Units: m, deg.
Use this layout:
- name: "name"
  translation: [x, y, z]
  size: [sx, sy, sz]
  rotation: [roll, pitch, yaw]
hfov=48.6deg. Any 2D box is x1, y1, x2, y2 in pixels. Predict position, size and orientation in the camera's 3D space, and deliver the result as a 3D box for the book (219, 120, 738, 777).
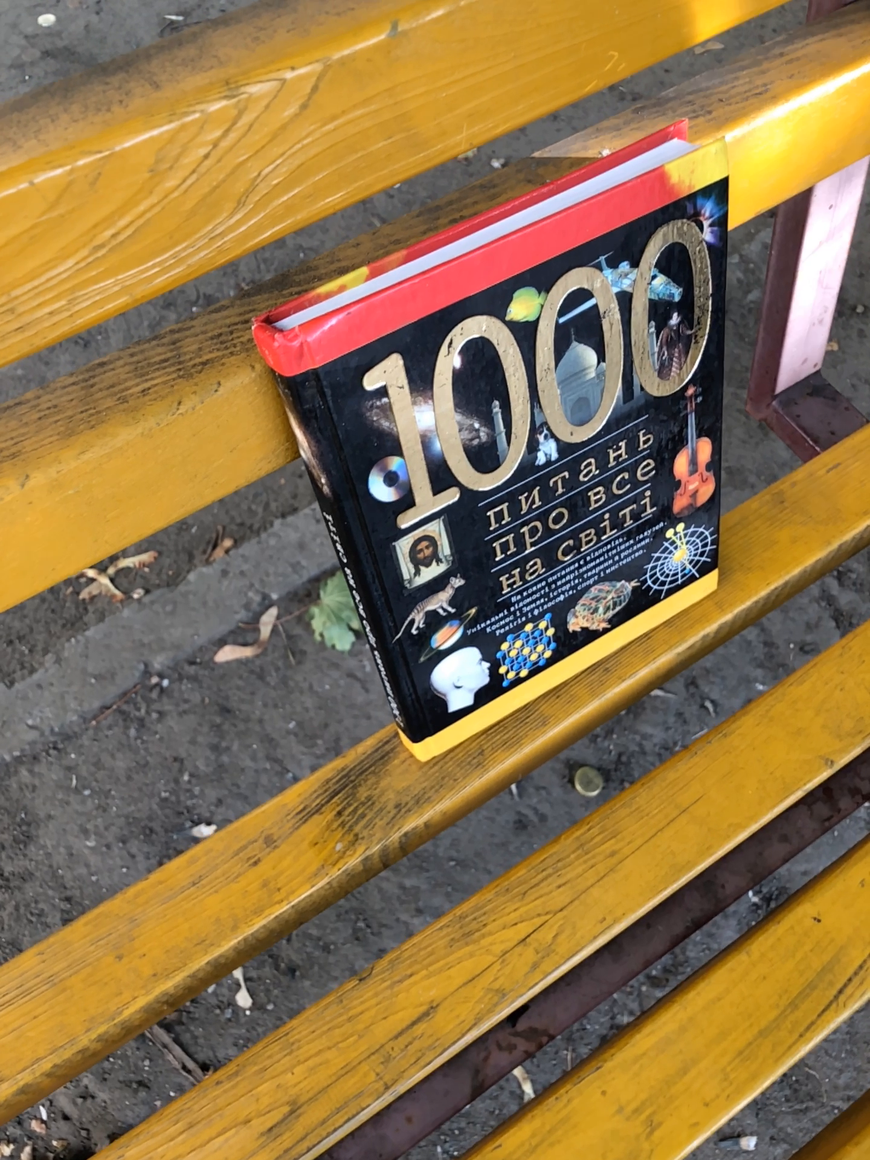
- name: "book"
  translation: [0.037, -0.037, 0.366]
  size: [0.172, 0.201, 0.032]
  rotation: [-29, 44, -14]
